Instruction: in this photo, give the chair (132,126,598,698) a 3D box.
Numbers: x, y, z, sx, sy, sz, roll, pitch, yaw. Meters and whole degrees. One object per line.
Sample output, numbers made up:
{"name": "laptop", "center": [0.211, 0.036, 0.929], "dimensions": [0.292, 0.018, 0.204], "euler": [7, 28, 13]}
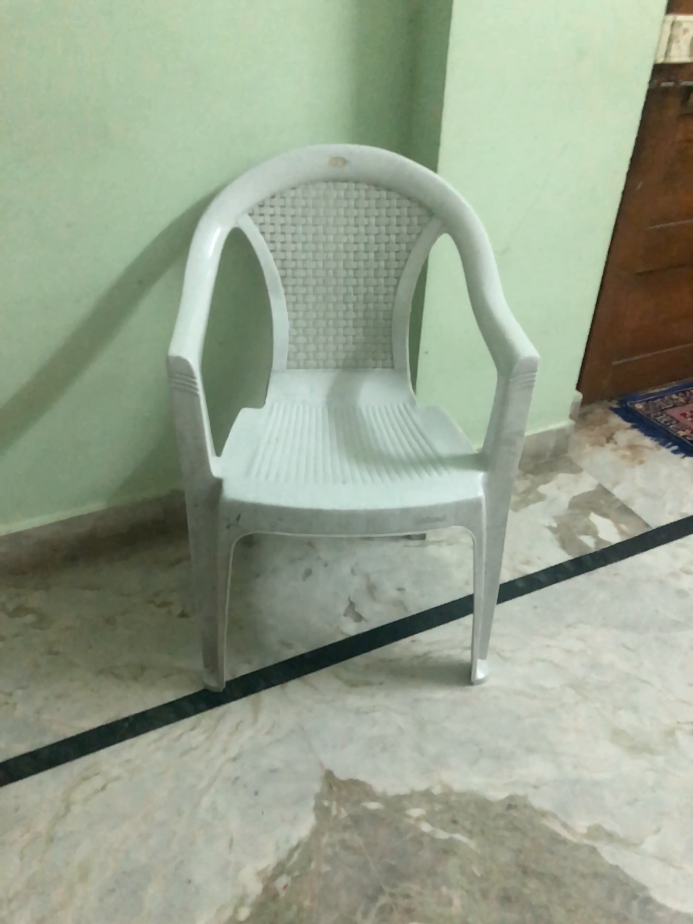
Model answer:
{"name": "chair", "center": [0.007, -0.077, 1.307], "dimensions": [0.530, 0.825, 0.533], "euler": [1, 35, -2]}
